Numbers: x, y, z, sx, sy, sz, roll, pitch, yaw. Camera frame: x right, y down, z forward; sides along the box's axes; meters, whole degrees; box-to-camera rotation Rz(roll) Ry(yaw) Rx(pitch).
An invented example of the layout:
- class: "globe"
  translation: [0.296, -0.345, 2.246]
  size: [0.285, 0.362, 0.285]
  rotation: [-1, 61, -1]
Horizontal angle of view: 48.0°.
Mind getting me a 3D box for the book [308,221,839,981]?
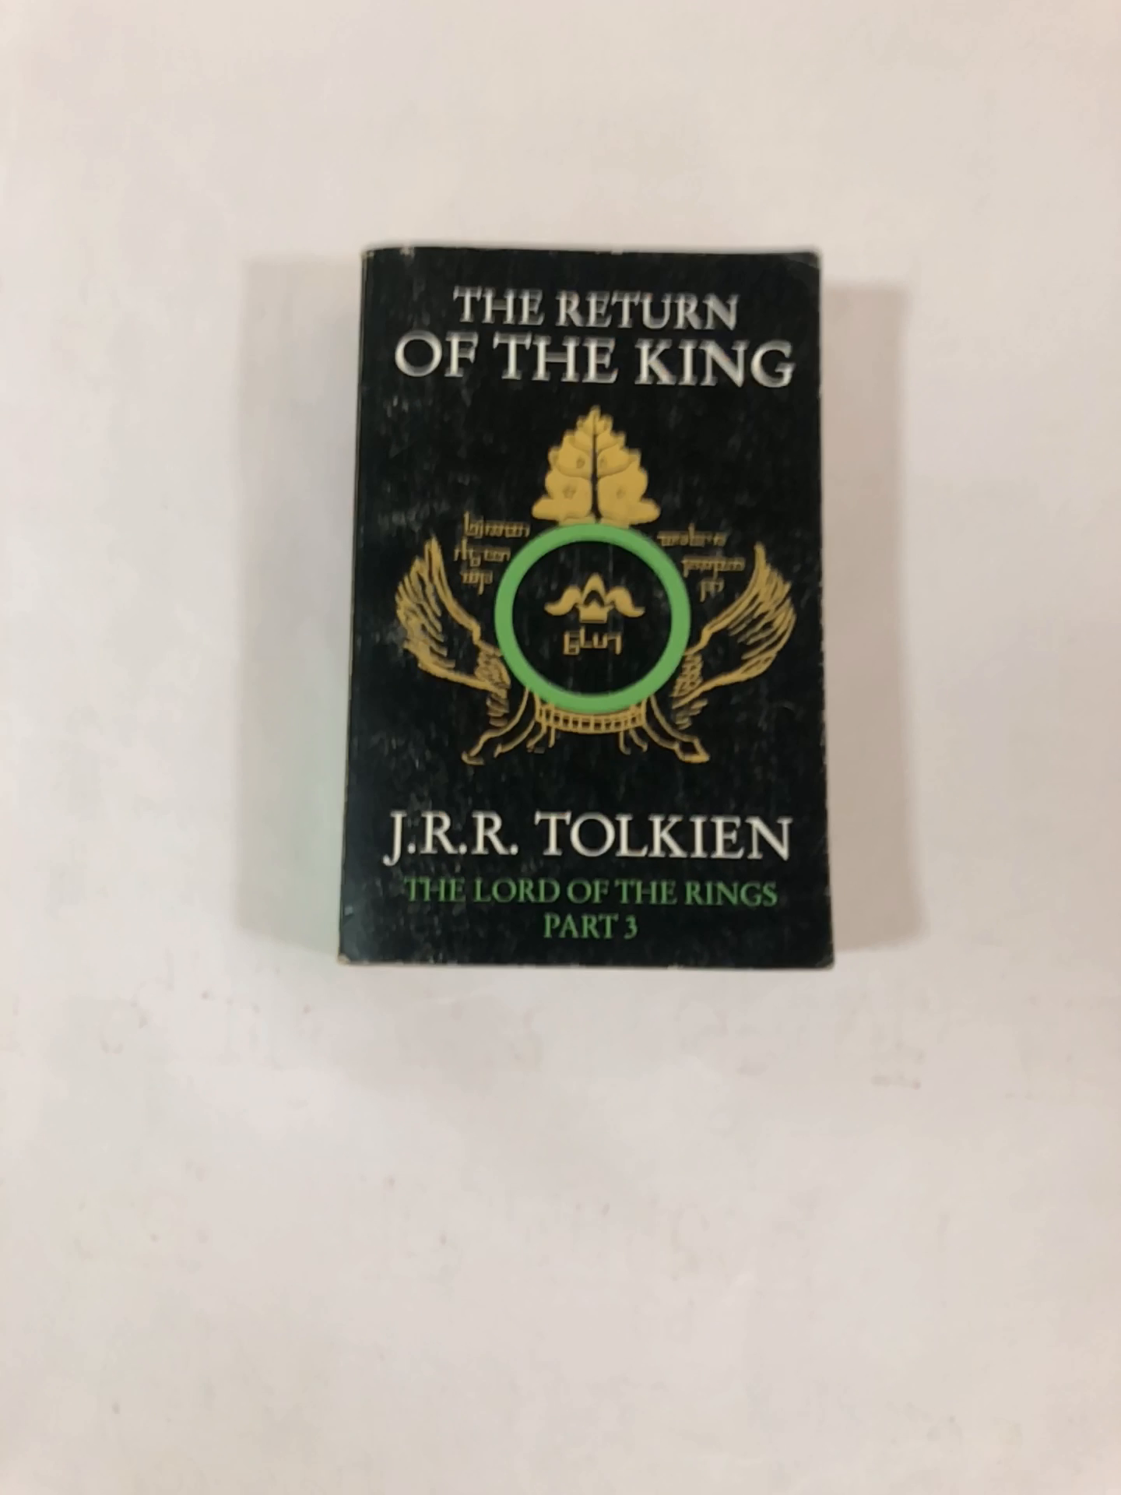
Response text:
- class: "book"
  translation: [0.003, -0.039, 0.343]
  size: [0.130, 0.040, 0.200]
  rotation: [0, 81, -3]
